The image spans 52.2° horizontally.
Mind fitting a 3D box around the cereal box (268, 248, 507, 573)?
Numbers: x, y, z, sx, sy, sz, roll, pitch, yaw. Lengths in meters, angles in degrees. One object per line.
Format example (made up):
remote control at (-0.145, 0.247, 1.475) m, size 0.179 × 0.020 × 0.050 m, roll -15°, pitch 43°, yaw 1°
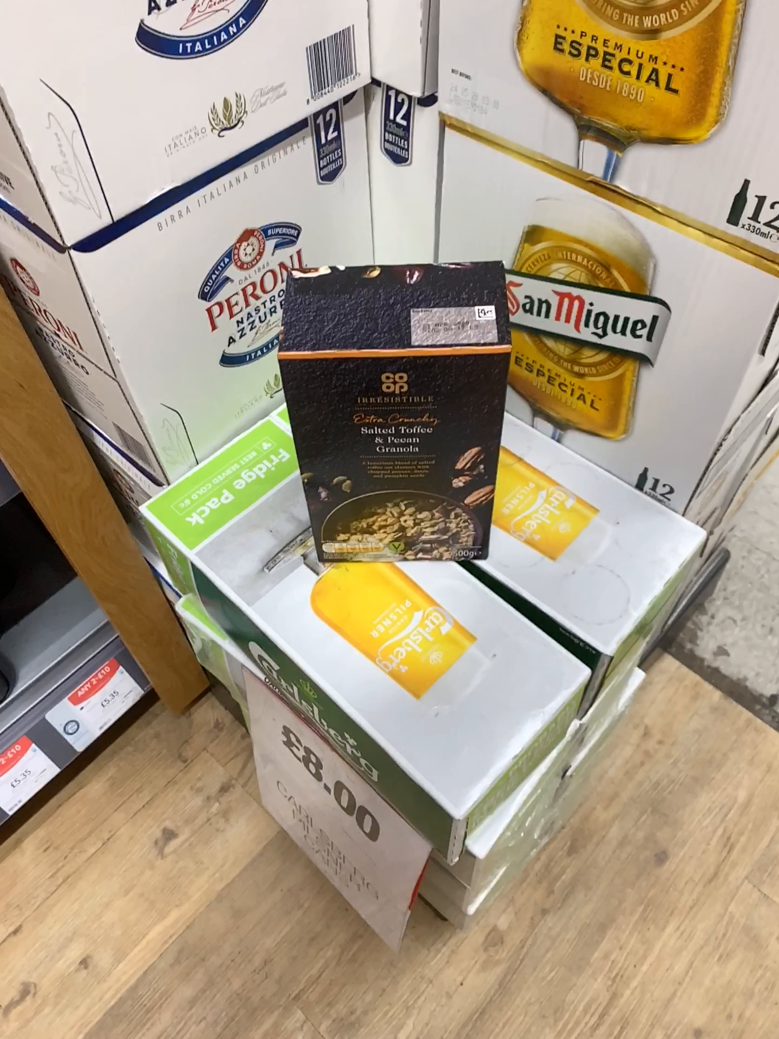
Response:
cereal box at (0.003, -0.057, 0.508) m, size 0.120 × 0.208 × 0.081 m, roll -1°, pitch 54°, yaw 2°
